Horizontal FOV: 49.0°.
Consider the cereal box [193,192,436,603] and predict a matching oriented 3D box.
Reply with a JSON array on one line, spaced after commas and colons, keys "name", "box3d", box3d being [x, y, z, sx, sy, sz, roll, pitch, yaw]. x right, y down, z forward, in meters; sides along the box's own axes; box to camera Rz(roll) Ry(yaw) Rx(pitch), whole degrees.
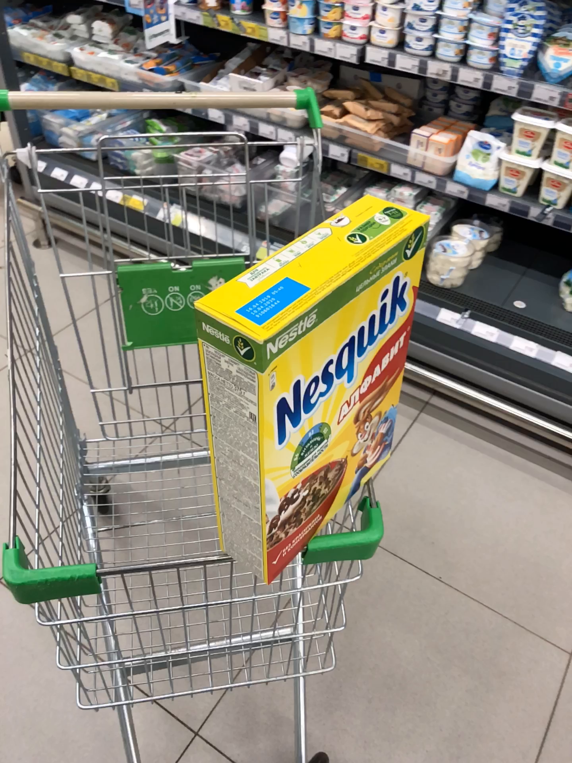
[{"name": "cereal box", "box3d": [0.025, 0.020, 0.525, 0.060, 0.288, 0.201, 28, 48, 27]}]
